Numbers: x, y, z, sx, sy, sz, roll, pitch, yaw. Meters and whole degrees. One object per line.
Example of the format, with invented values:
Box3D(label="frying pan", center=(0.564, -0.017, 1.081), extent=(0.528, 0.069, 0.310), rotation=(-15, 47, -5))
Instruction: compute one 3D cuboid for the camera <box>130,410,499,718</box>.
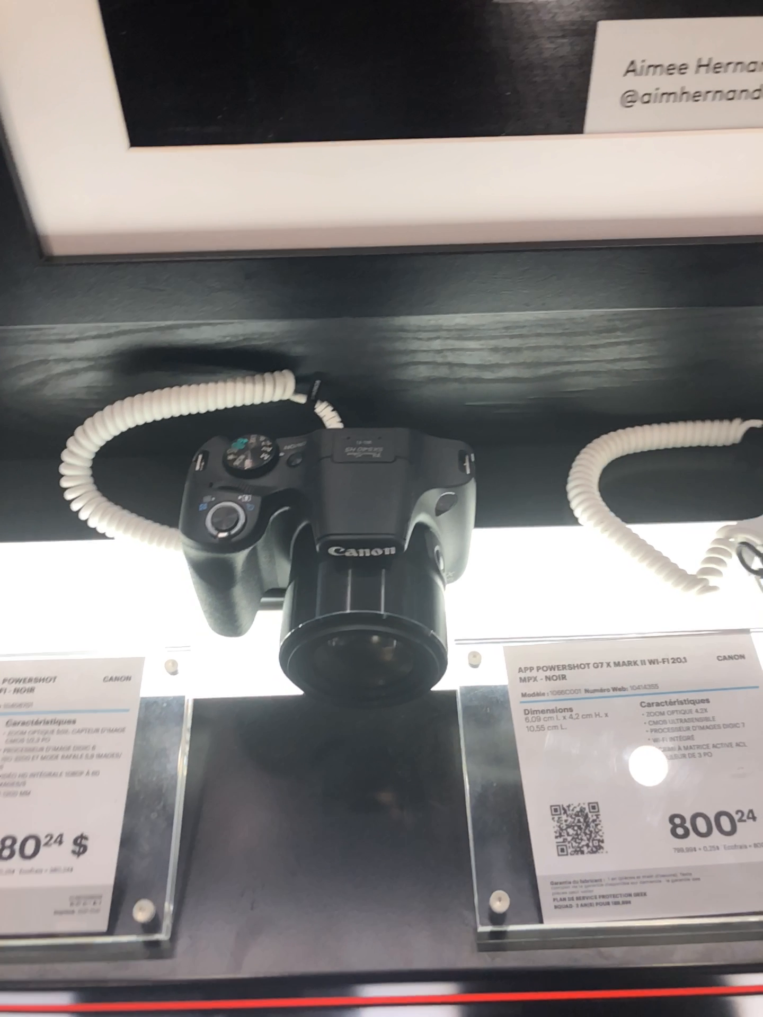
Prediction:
Box3D(label="camera", center=(-0.022, 0.023, 0.338), extent=(0.122, 0.099, 0.071), rotation=(-2, 42, 0))
